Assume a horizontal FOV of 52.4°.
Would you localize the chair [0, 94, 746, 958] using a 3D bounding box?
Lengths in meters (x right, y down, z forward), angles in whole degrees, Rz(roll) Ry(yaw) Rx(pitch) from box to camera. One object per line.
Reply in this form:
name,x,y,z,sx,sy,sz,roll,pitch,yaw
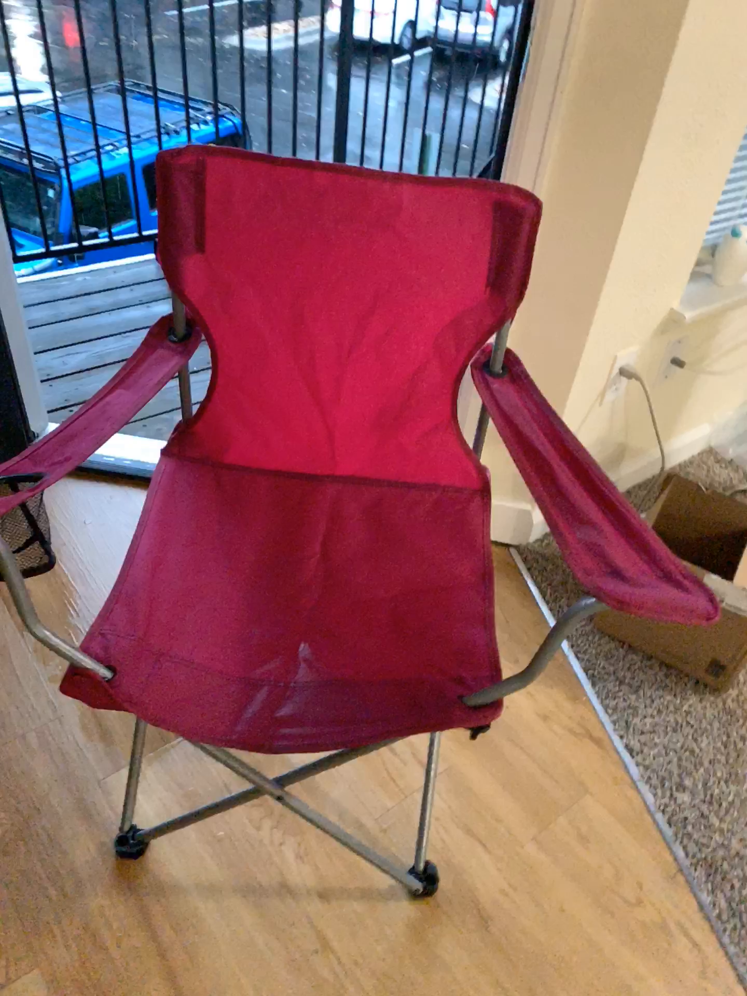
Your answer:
chair,-0.056,0.023,0.983,0.650,0.776,0.673,9,40,2
